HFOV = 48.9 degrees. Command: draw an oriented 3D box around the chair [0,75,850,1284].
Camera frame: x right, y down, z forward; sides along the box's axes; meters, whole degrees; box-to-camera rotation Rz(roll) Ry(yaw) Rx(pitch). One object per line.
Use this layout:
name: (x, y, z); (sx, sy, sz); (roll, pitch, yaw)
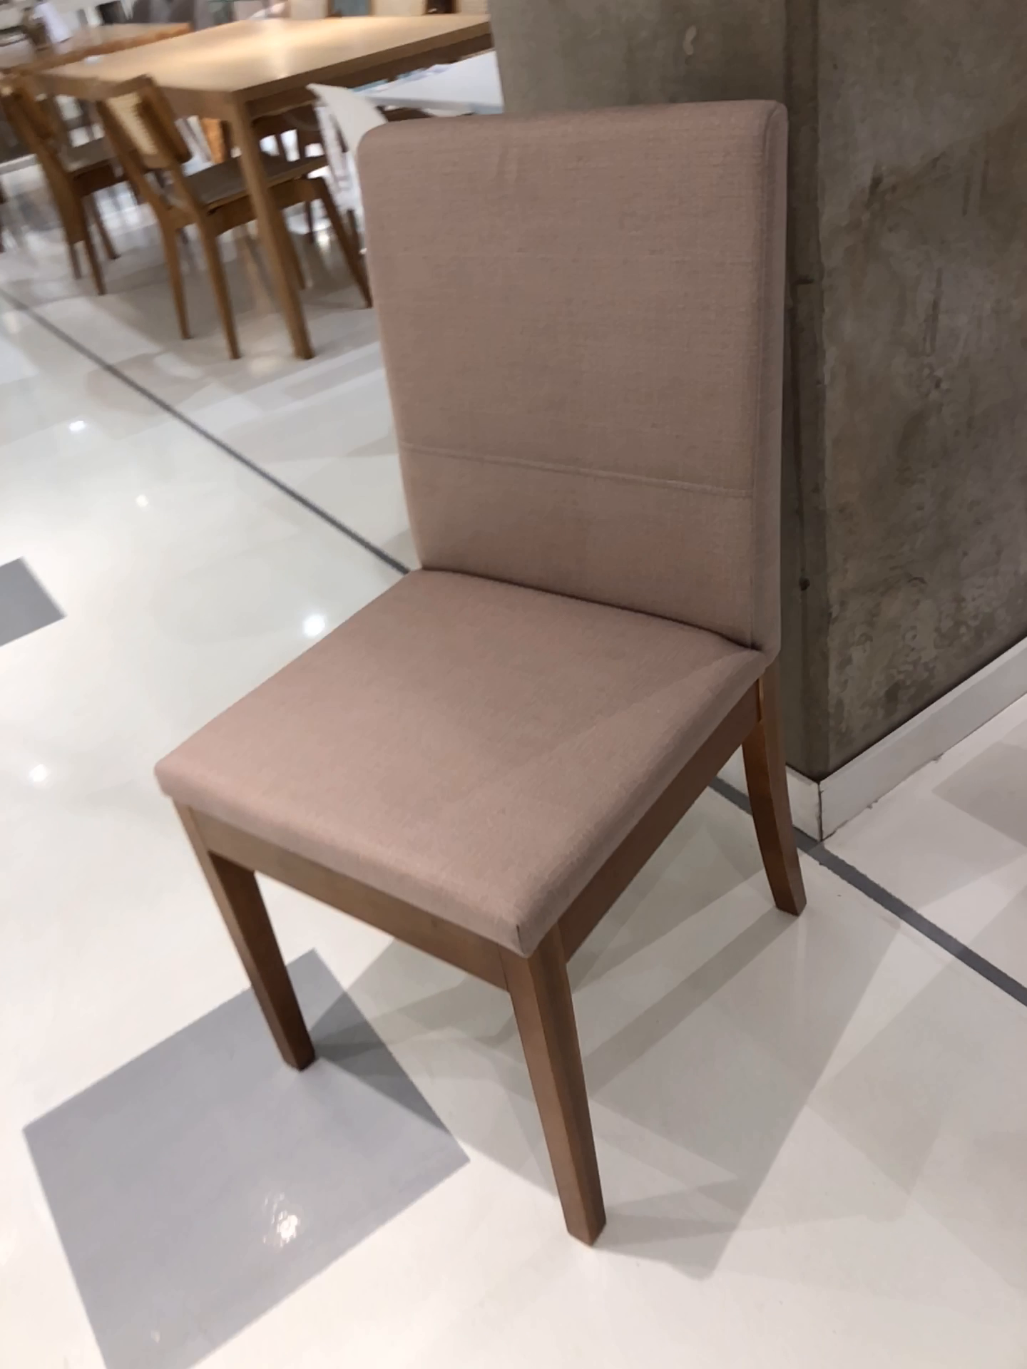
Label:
chair: (-0.041, -0.014, 1.138); (0.561, 0.933, 0.543); (16, 44, 34)
